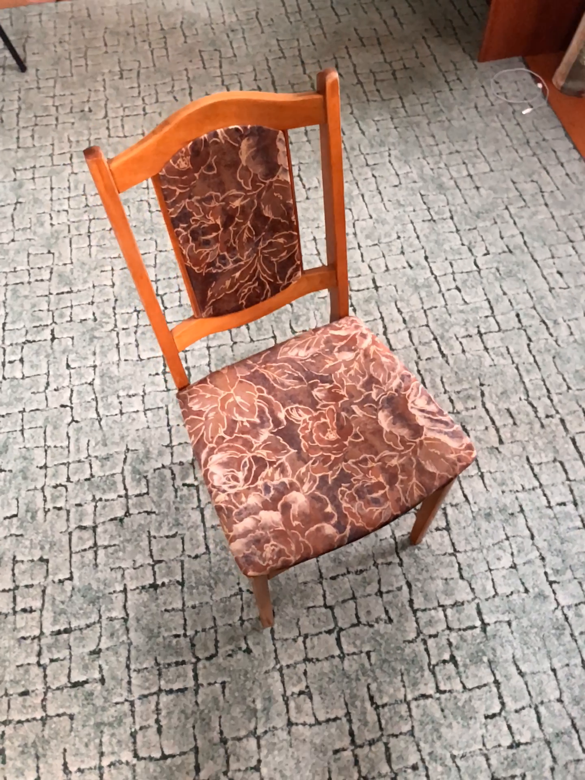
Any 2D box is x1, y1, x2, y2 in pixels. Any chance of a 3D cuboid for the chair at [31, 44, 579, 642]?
[{"bbox_3d":[-0.006,0.005,1.169,0.481,0.875,0.552,-24,61,-12],"label":"chair"}]
